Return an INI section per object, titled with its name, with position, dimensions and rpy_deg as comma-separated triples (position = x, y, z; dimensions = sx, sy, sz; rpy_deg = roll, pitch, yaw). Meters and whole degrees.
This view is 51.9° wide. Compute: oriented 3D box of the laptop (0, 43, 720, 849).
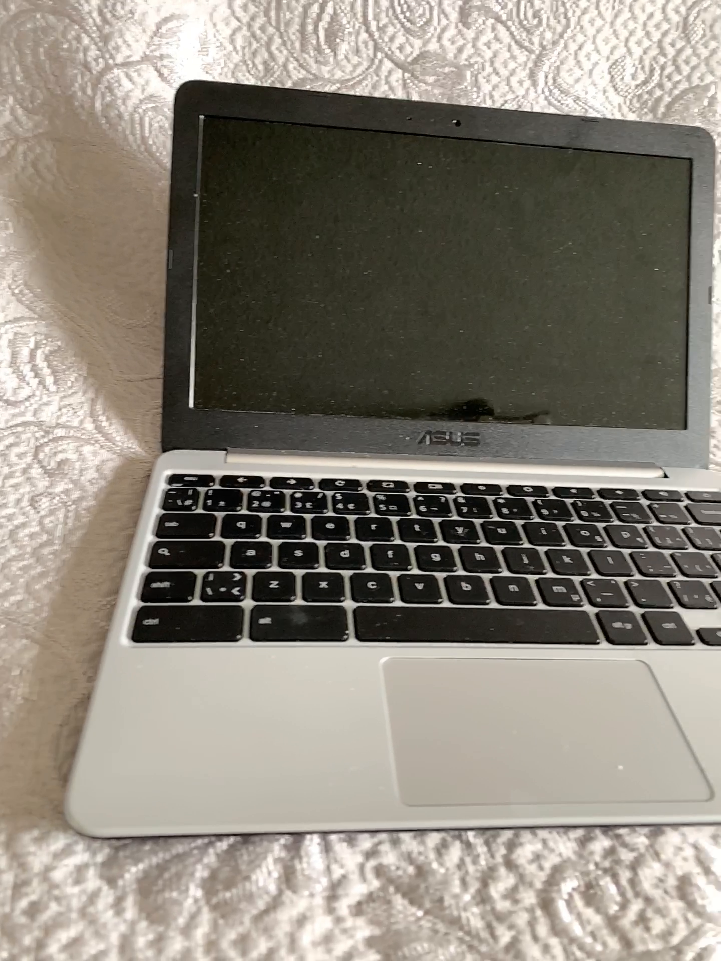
[laptop]
position = 0.055, -0.043, 0.300
dimensions = 0.288, 0.127, 0.288
rpy_deg = 3, 40, -14
